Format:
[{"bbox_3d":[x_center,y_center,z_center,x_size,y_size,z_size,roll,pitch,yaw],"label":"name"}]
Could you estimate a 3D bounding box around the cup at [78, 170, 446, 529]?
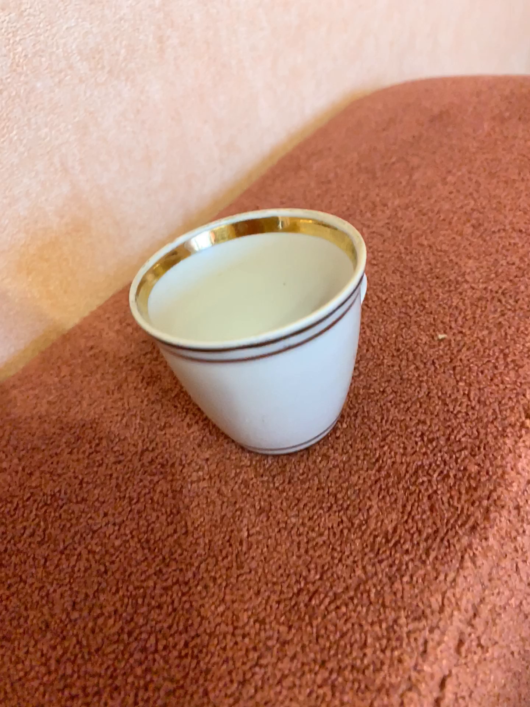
[{"bbox_3d":[0.004,-0.007,0.155,0.055,0.048,0.078,28,55,38],"label":"cup"}]
